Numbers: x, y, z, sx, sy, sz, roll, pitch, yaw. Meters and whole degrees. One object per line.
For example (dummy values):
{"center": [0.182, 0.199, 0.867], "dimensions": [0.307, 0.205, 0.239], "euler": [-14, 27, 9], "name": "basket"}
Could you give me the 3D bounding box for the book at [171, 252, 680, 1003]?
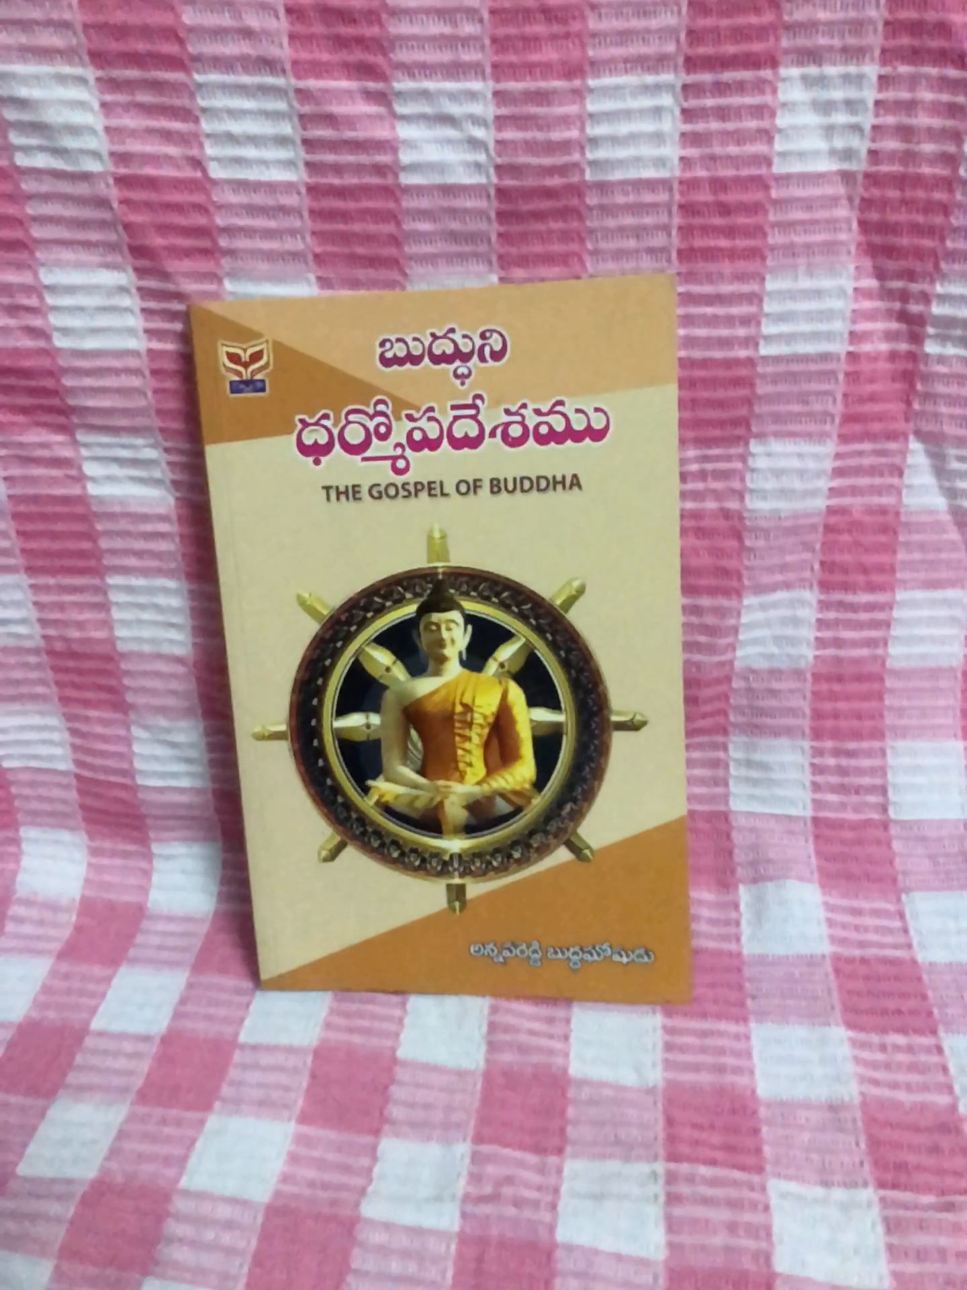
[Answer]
{"center": [-0.015, 0.000, 0.317], "dimensions": [0.140, 0.210, 0.020], "euler": [-1, 8, 11], "name": "book"}
